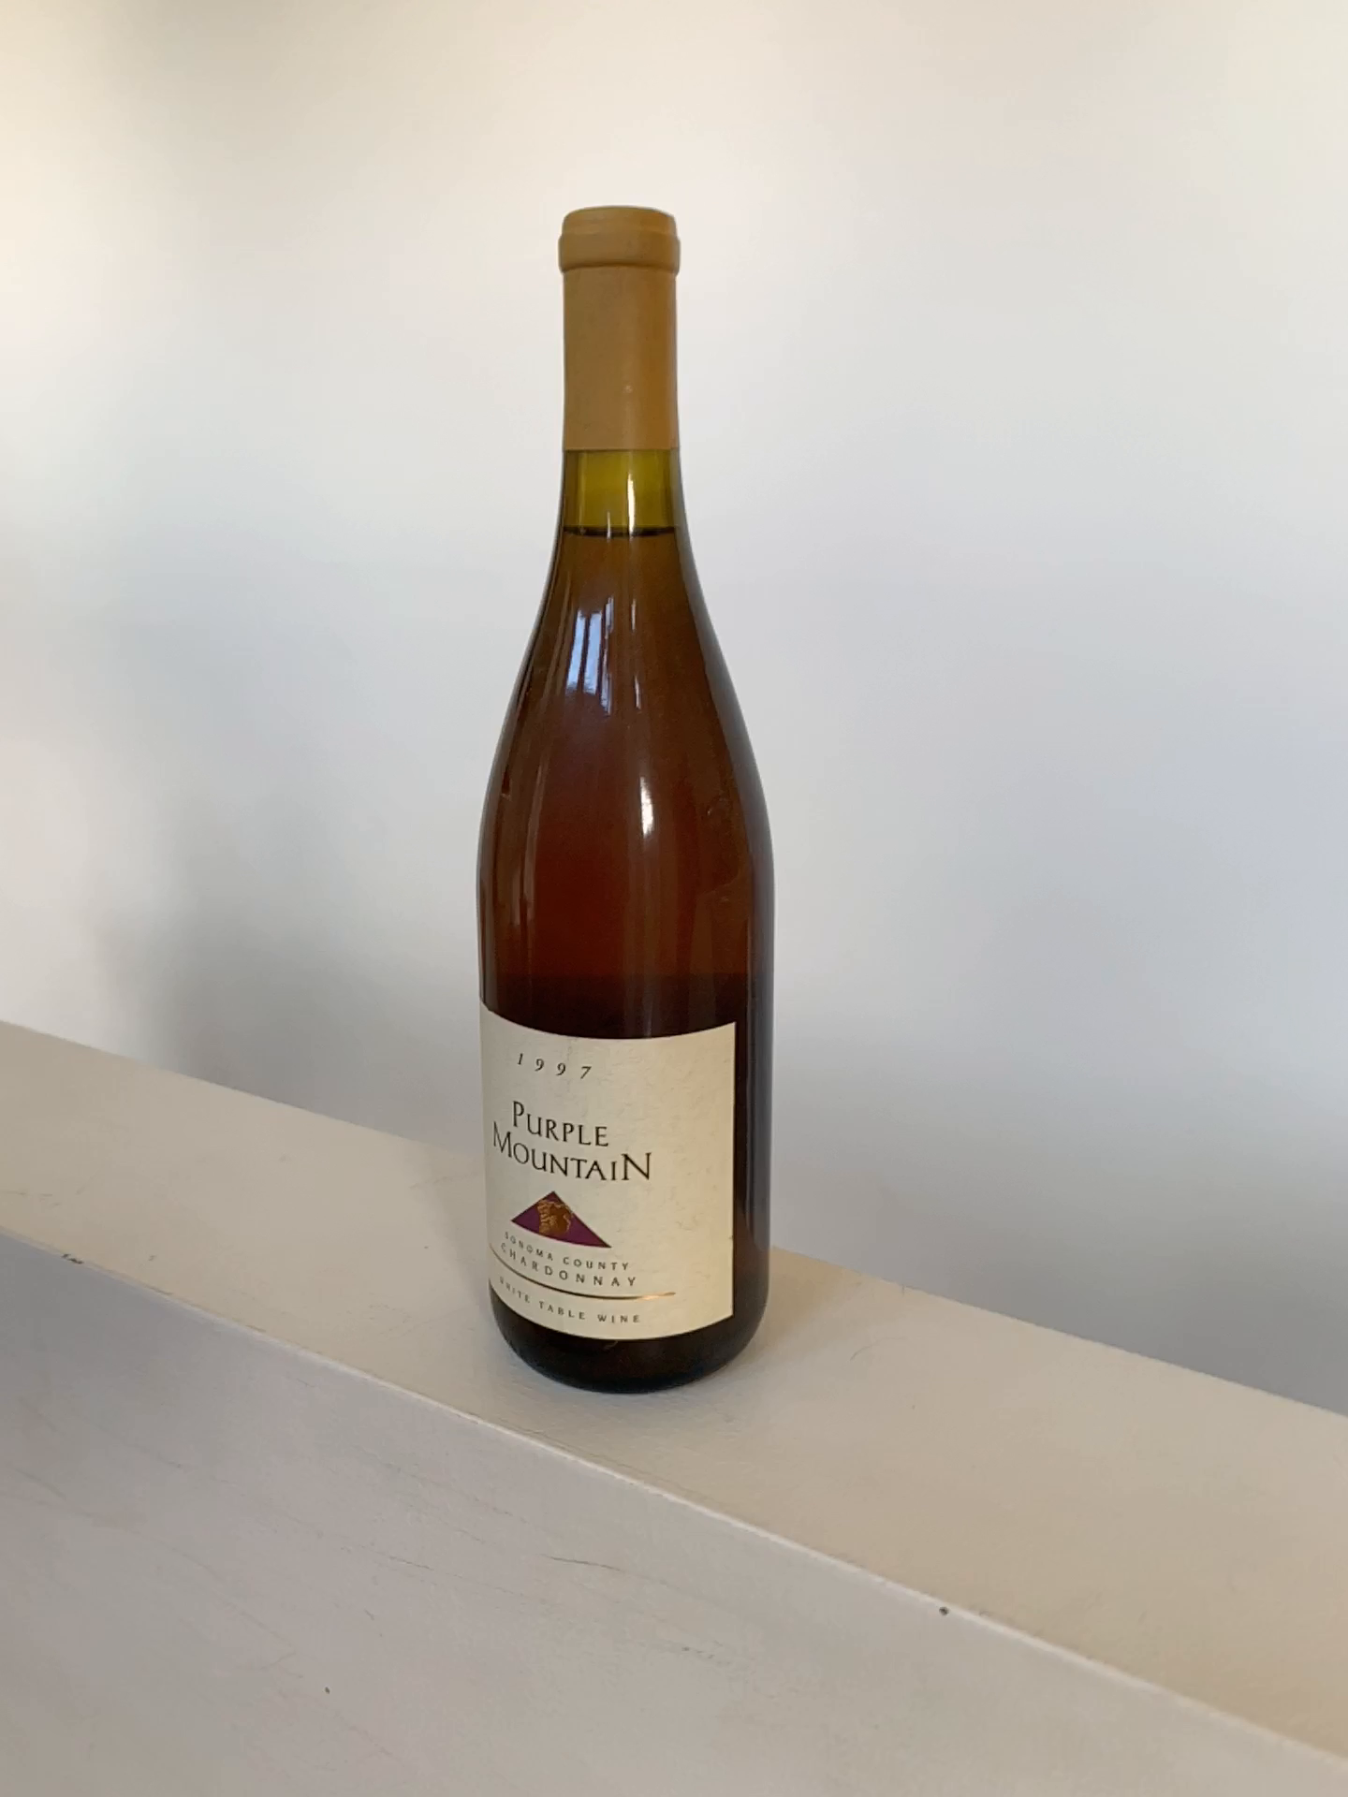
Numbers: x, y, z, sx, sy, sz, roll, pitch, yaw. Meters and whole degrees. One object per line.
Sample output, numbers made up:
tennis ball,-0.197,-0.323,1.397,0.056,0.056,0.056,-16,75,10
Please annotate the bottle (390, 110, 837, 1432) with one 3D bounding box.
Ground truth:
bottle,-0.012,-0.025,0.374,0.080,0.309,0.080,0,15,0
